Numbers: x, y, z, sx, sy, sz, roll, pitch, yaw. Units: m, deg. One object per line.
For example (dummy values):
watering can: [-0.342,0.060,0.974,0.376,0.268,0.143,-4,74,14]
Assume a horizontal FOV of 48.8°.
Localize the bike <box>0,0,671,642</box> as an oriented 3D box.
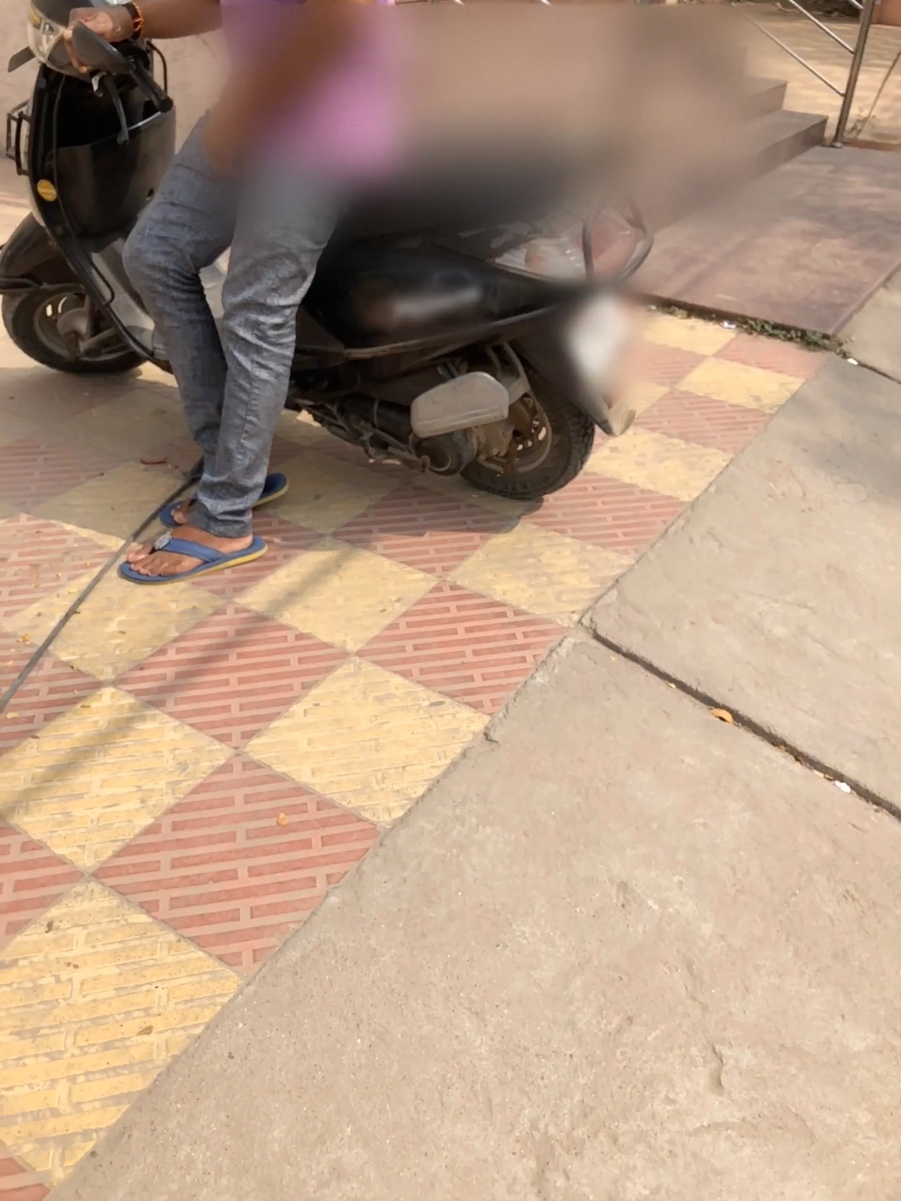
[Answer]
bike: [-0.526,-0.736,2.041,1.592,1.116,0.639,16,37,17]
